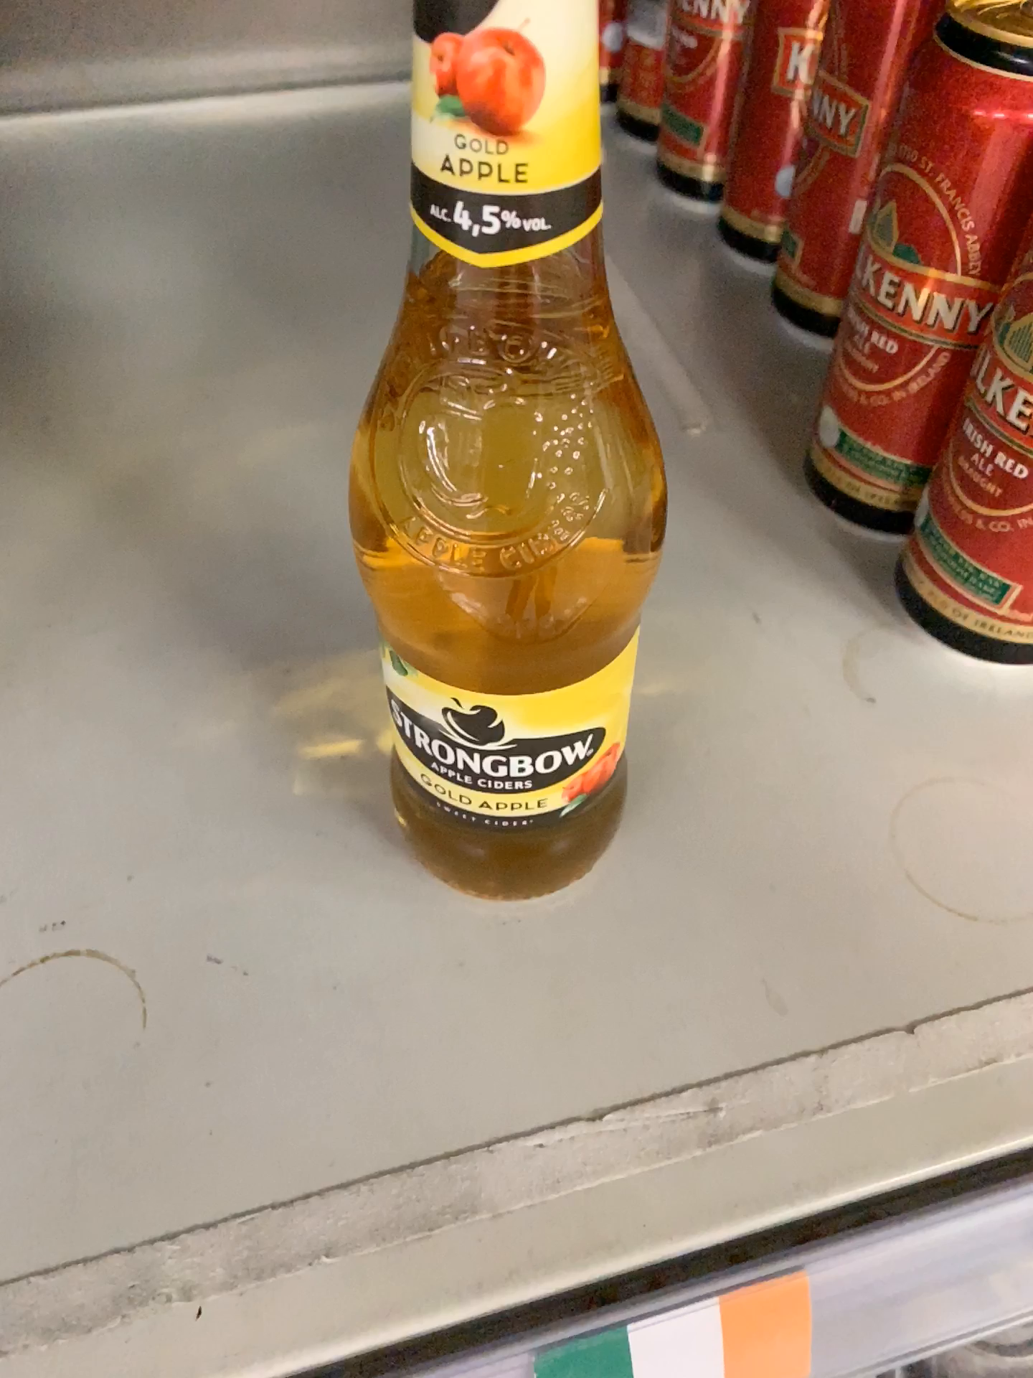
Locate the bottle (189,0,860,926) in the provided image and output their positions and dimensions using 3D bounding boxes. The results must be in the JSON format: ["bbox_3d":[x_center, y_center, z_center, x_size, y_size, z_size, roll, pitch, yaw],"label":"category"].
[{"bbox_3d":[0.005,-0.049,0.246,0.080,0.239,0.080,1,49,-1],"label":"bottle"}]
